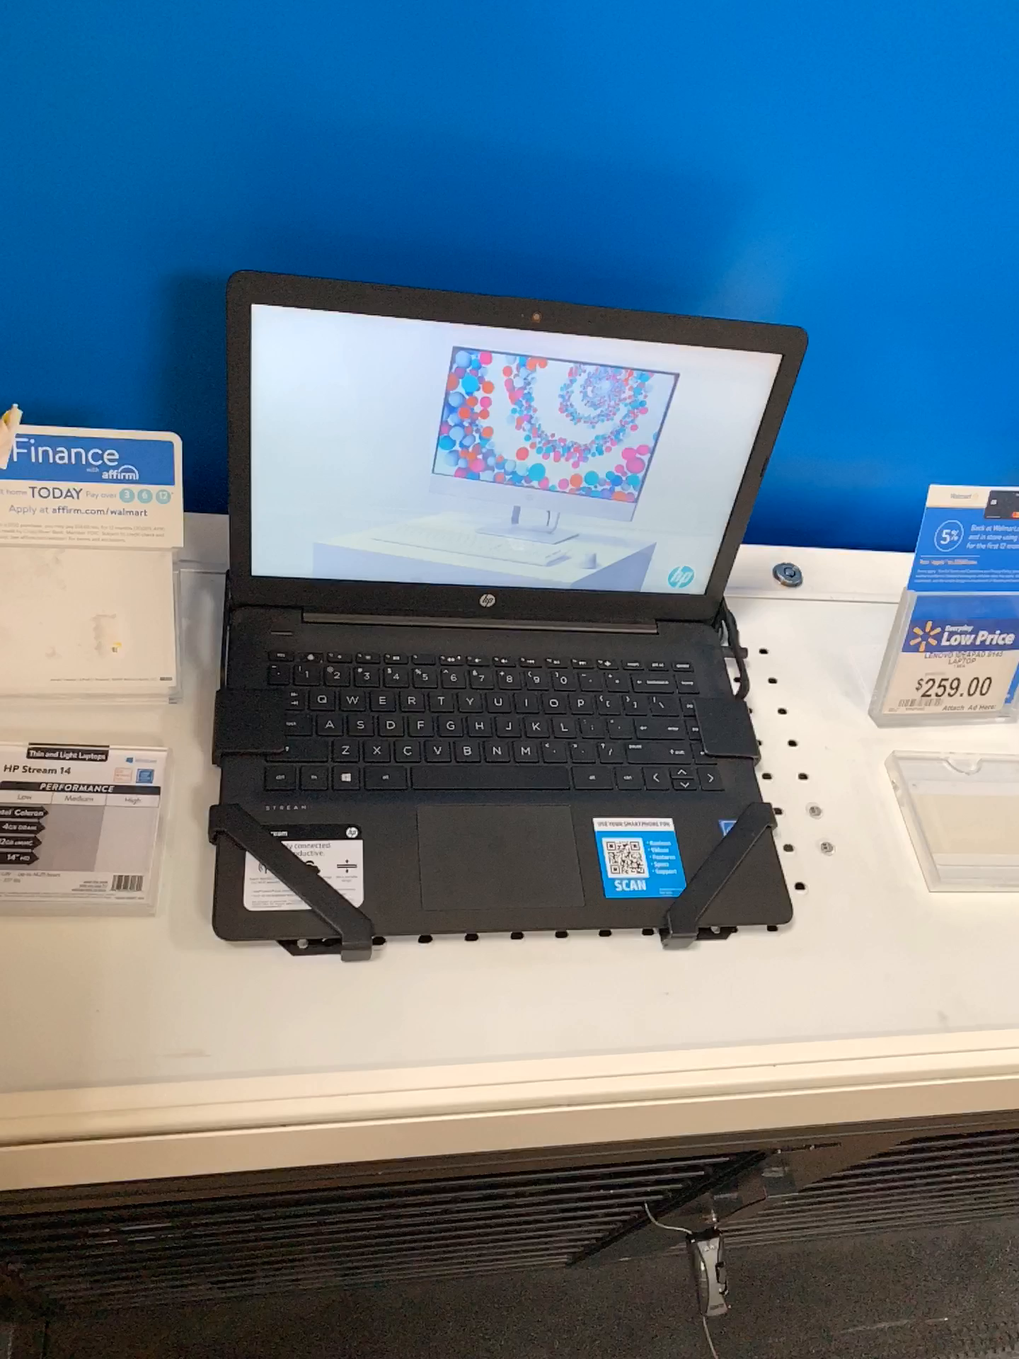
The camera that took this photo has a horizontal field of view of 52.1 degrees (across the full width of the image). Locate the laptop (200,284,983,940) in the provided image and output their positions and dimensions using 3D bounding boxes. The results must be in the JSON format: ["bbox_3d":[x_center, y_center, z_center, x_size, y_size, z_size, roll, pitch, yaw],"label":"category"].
[{"bbox_3d":[0.012,-0.031,0.572,0.326,0.203,0.270,1,54,-13],"label":"laptop"}]
